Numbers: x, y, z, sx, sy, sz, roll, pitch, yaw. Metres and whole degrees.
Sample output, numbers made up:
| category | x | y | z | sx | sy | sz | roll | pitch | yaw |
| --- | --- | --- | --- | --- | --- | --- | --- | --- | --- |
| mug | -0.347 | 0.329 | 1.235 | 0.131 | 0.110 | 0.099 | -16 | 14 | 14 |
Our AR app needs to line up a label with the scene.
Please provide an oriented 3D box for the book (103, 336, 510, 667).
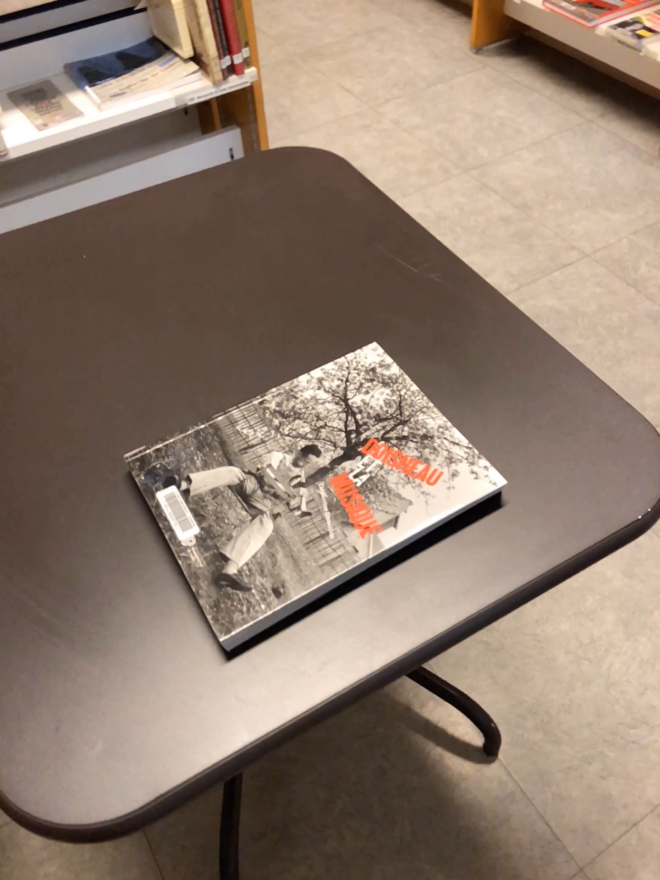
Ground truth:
| category | x | y | z | sx | sy | sz | roll | pitch | yaw |
| --- | --- | --- | --- | --- | --- | --- | --- | --- | --- |
| book | -0.022 | 0.029 | 0.568 | 0.251 | 0.030 | 0.194 | -25 | 53 | -19 |
